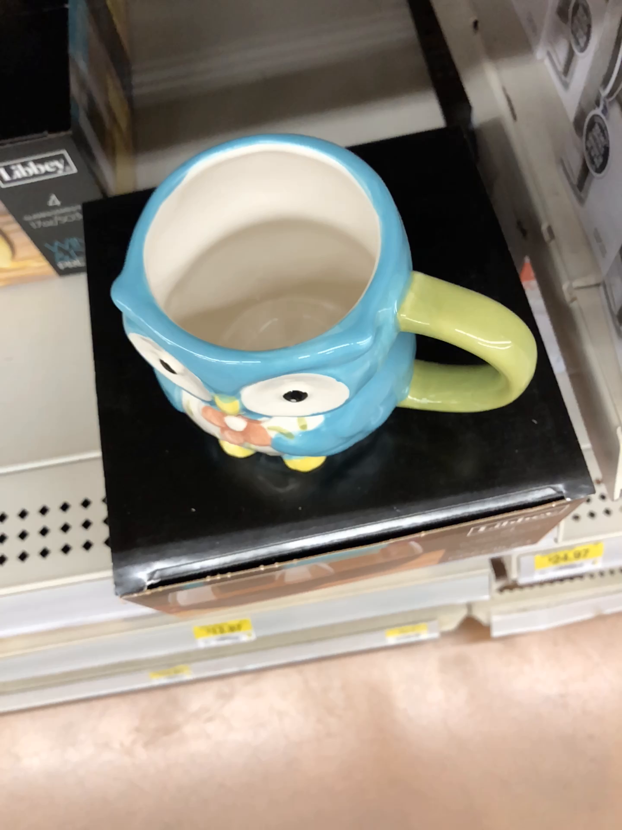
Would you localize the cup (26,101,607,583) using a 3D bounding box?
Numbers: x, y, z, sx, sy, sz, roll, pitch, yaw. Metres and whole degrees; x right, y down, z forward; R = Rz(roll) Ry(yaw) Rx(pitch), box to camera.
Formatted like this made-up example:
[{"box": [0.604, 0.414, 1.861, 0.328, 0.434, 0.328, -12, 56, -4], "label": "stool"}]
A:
[{"box": [0.006, -0.019, 0.249, 0.140, 0.110, 0.090, 21, 72, 14], "label": "cup"}]
